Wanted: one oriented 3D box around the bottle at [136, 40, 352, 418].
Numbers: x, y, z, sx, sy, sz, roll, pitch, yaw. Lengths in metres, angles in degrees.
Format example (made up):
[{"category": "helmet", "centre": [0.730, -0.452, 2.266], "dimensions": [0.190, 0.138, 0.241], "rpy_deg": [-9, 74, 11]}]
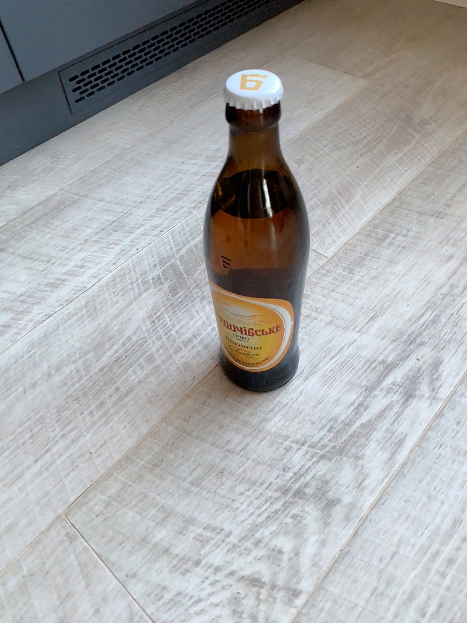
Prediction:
[{"category": "bottle", "centre": [0.014, -0.029, 0.301], "dimensions": [0.070, 0.229, 0.070], "rpy_deg": [-3, 51, 3]}]
